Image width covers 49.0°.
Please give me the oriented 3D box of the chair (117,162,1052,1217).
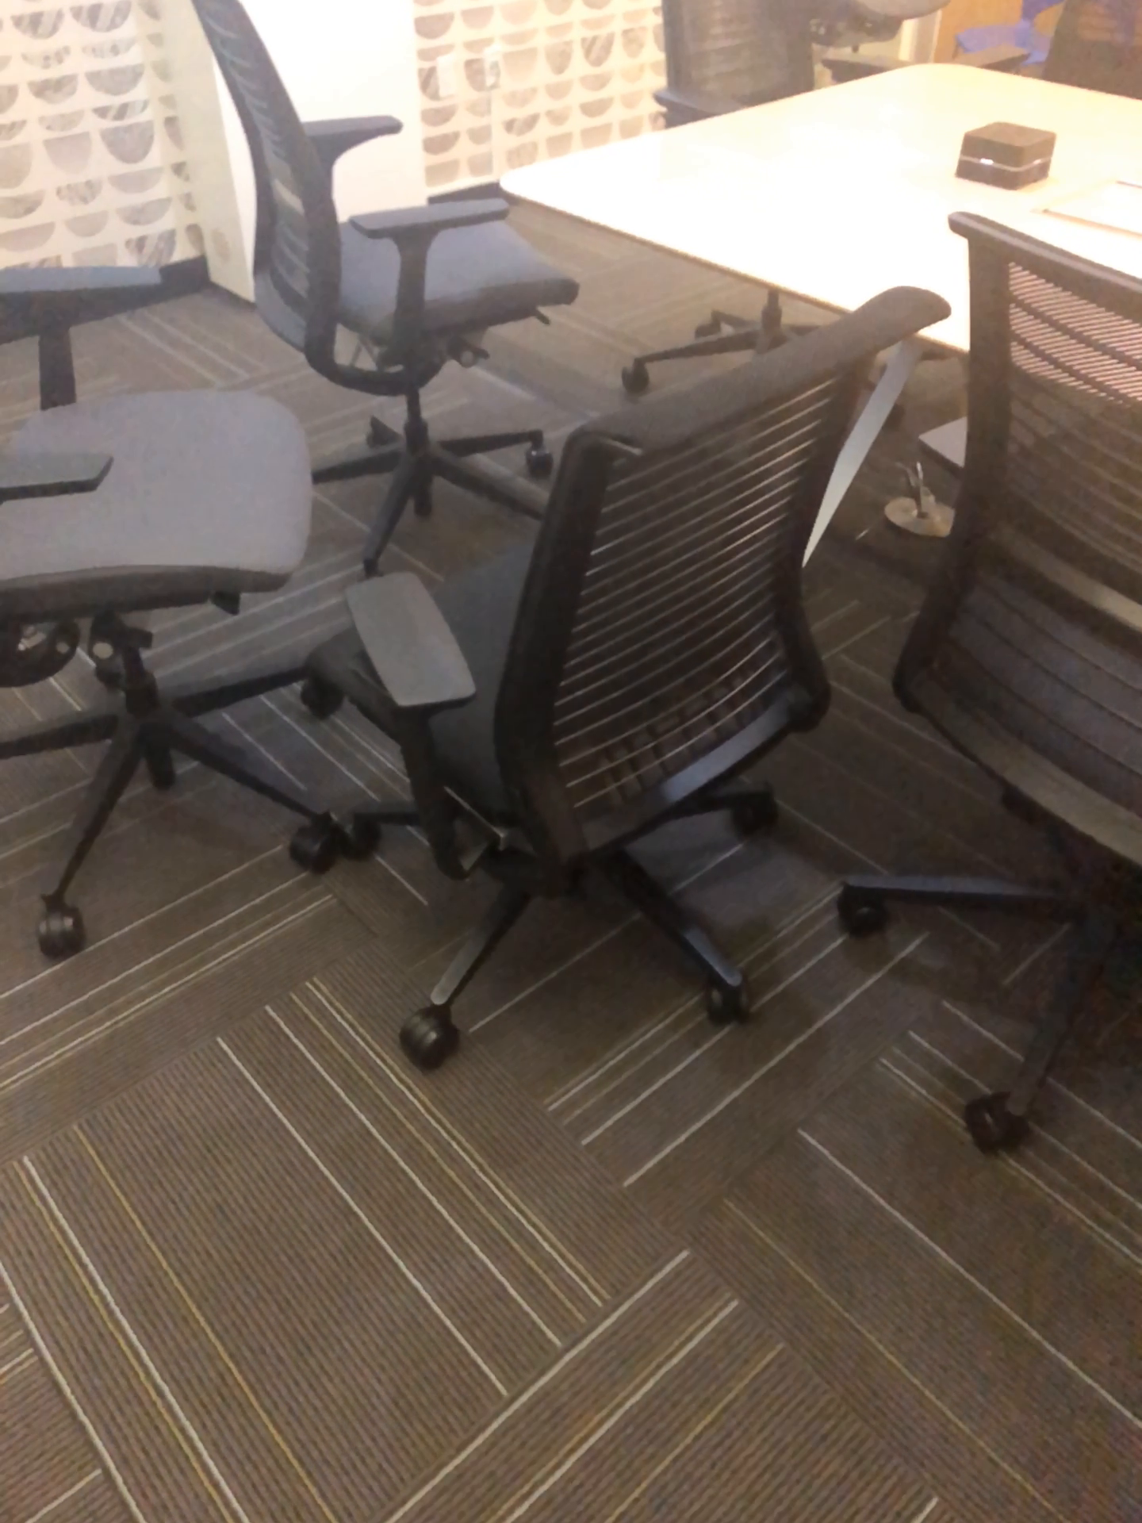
[{"bbox_3d":[0.011,-0.143,1.673,0.724,0.991,0.732,-29,46,-32],"label":"chair"}]
